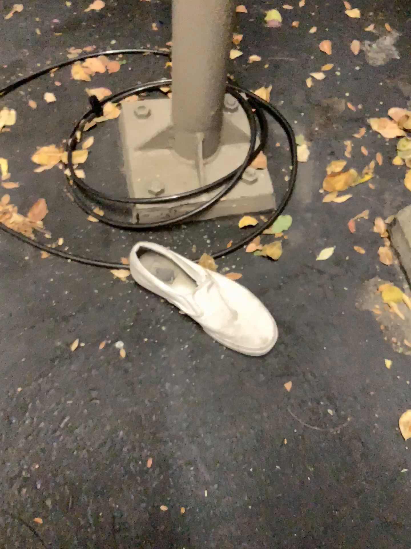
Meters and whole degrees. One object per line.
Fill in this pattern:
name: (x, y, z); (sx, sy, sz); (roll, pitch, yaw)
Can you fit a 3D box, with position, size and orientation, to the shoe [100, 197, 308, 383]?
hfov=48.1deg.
shoe: (-0.008, 0.022, 0.753); (0.310, 0.100, 0.120); (35, 66, 13)
